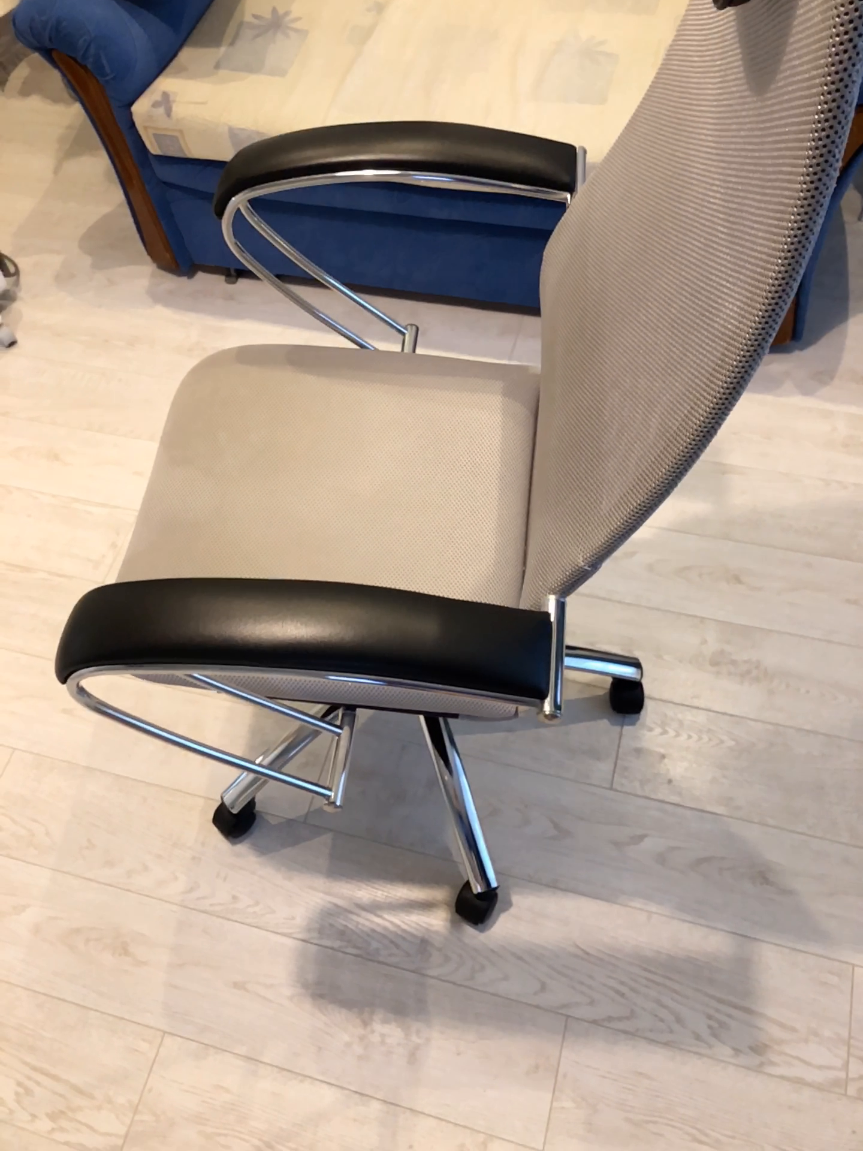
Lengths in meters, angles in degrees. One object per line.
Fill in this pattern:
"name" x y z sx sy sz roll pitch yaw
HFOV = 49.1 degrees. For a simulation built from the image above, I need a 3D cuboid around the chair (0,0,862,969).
"chair" -0.091 -0.161 0.891 0.690 1.154 0.683 9 60 12
